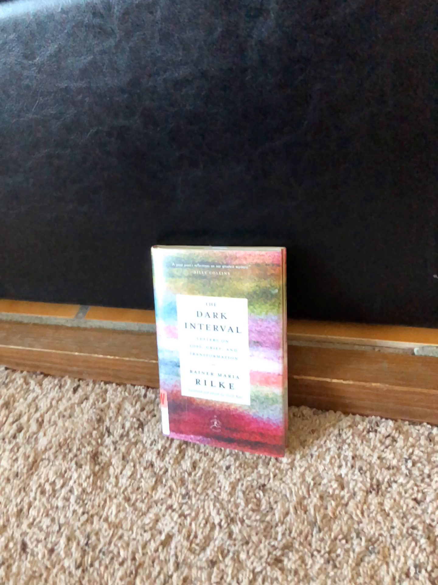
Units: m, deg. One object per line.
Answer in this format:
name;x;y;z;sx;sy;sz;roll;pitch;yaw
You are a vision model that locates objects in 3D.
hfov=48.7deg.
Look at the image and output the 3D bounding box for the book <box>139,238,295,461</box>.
book;-0.002;0.048;0.444;0.135;0.190;0.030;4;14;21
